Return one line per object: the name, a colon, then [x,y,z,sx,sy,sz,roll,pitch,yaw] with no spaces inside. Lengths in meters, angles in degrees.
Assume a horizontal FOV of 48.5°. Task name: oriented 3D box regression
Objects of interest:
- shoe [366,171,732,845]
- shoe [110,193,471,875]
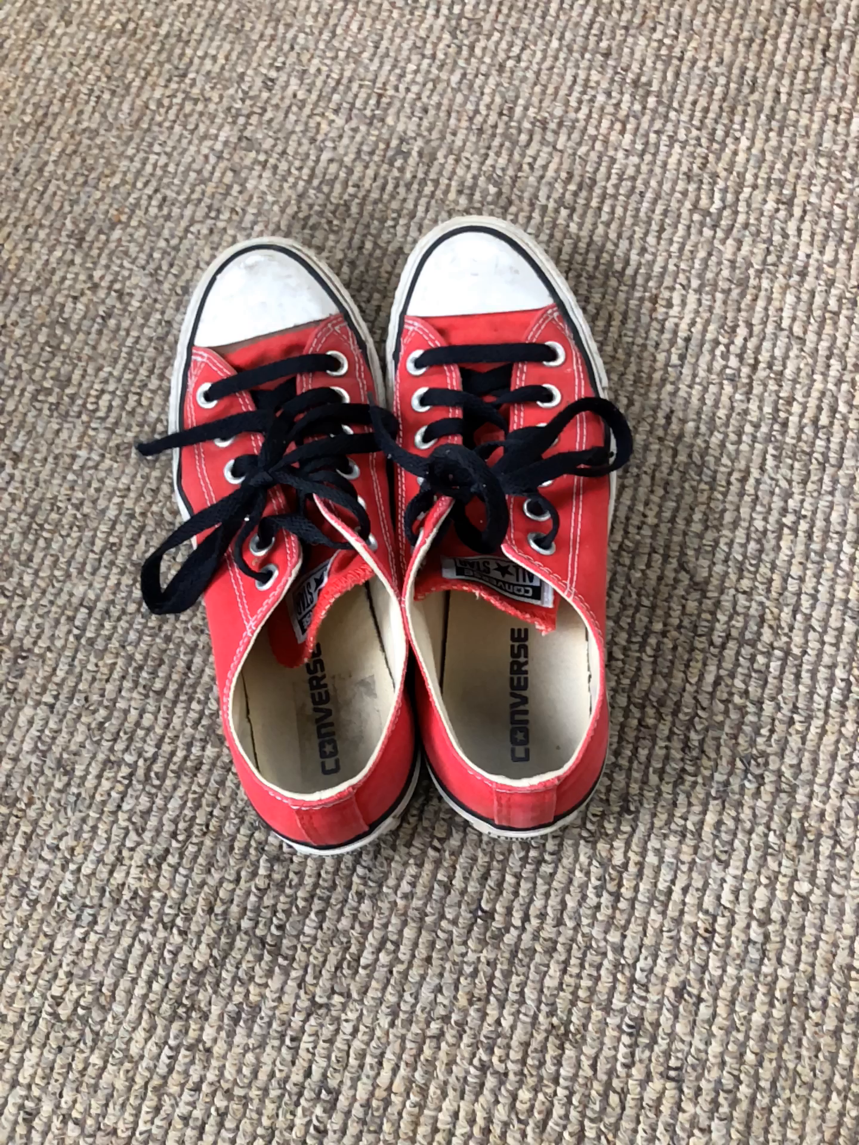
shoe: [0.039,-0.026,0.399,0.102,0.089,0.259,-6,72,1]
shoe: [-0.059,-0.015,0.410,0.102,0.097,0.262,-11,72,-1]
